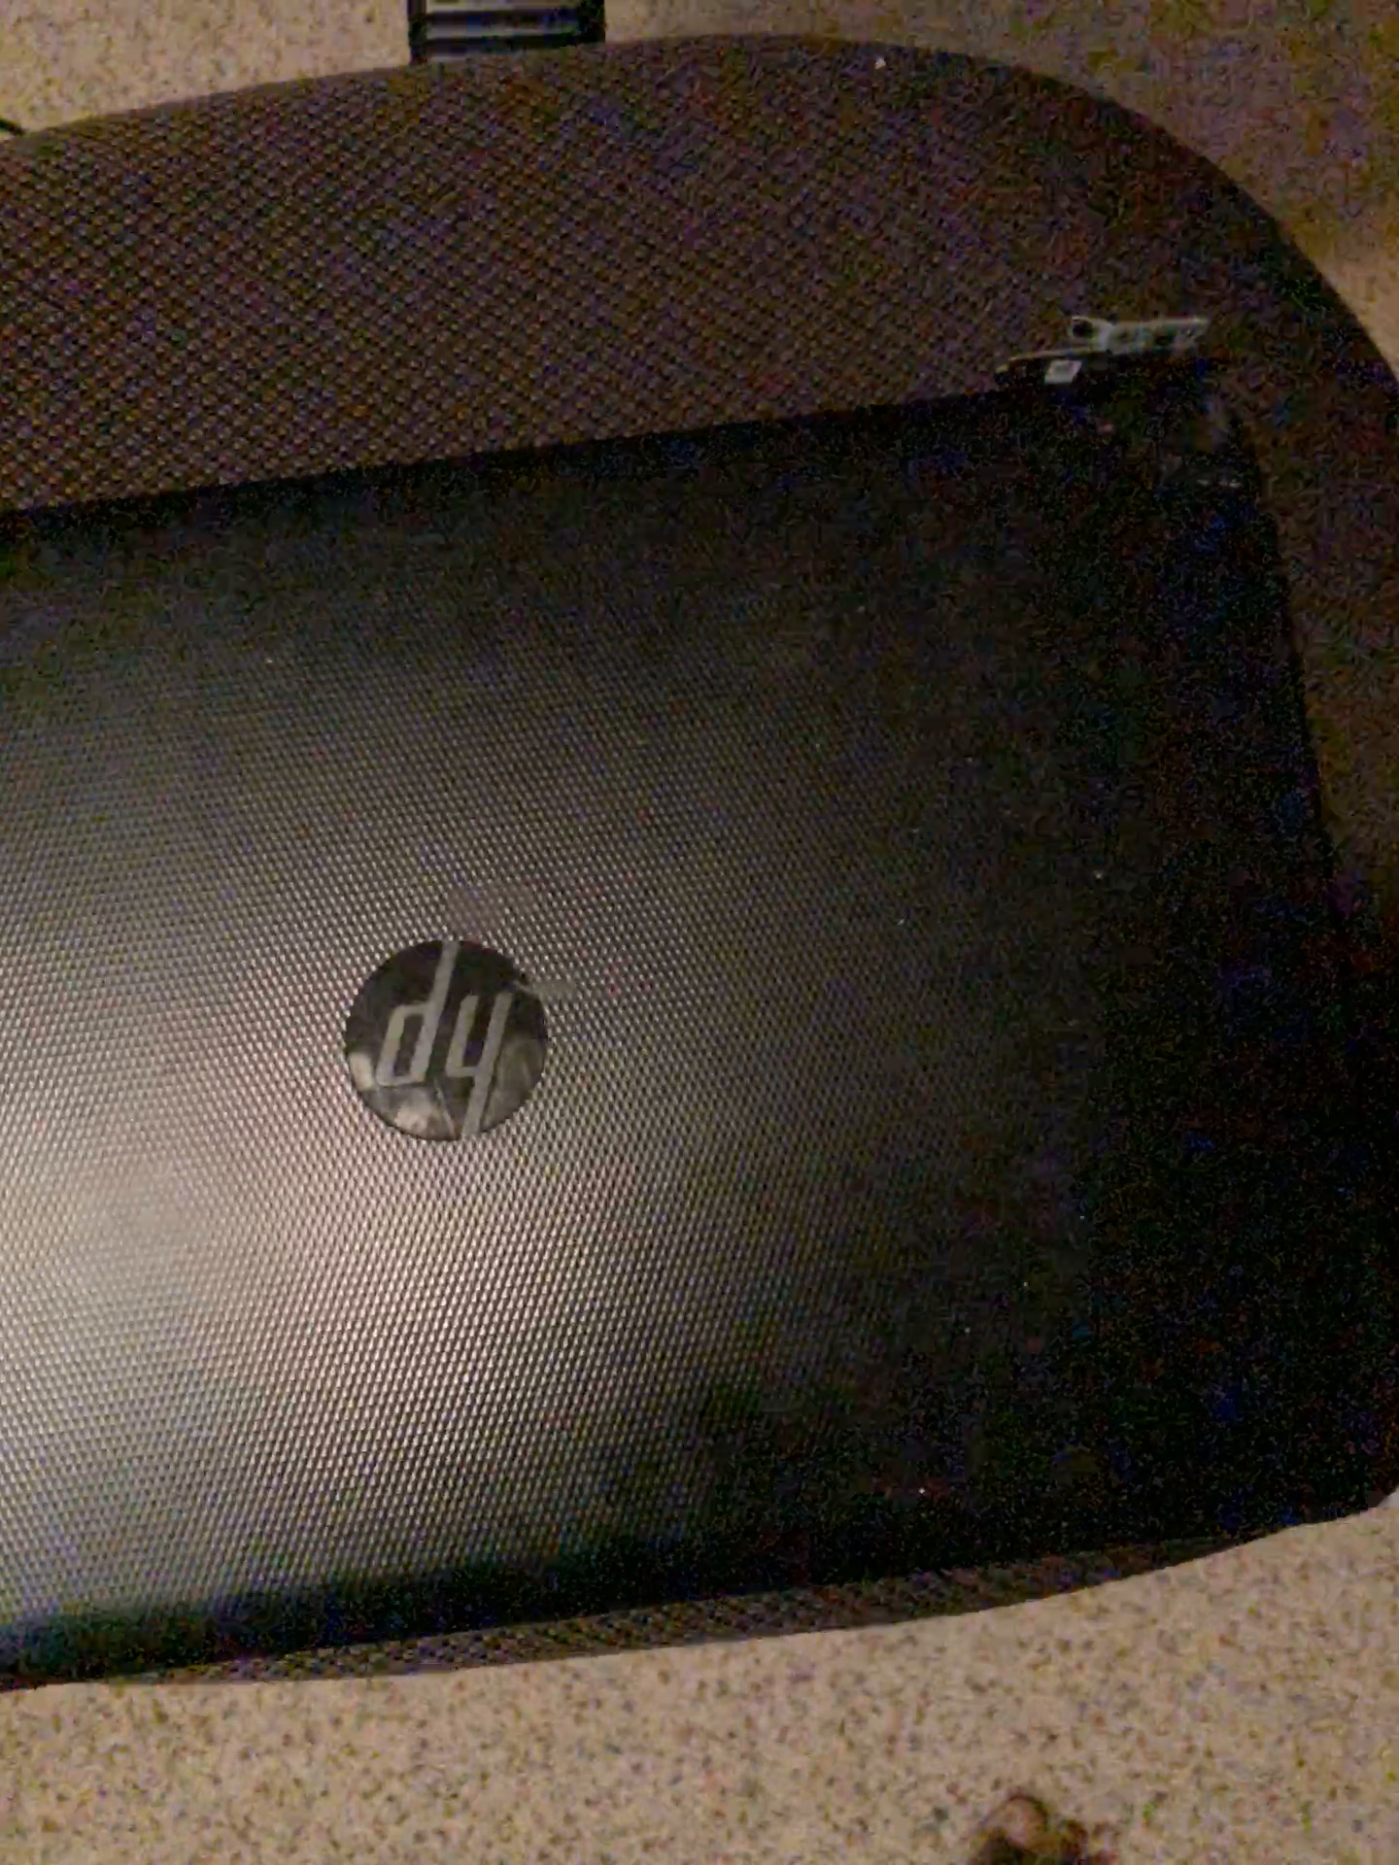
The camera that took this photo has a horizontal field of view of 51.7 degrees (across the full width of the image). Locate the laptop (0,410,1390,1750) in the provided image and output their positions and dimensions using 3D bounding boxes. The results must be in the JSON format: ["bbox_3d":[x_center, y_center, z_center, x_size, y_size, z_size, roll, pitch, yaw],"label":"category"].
[{"bbox_3d":[-0.050,0.020,0.322,0.378,0.018,0.245,-7,84,-5],"label":"laptop"}]
